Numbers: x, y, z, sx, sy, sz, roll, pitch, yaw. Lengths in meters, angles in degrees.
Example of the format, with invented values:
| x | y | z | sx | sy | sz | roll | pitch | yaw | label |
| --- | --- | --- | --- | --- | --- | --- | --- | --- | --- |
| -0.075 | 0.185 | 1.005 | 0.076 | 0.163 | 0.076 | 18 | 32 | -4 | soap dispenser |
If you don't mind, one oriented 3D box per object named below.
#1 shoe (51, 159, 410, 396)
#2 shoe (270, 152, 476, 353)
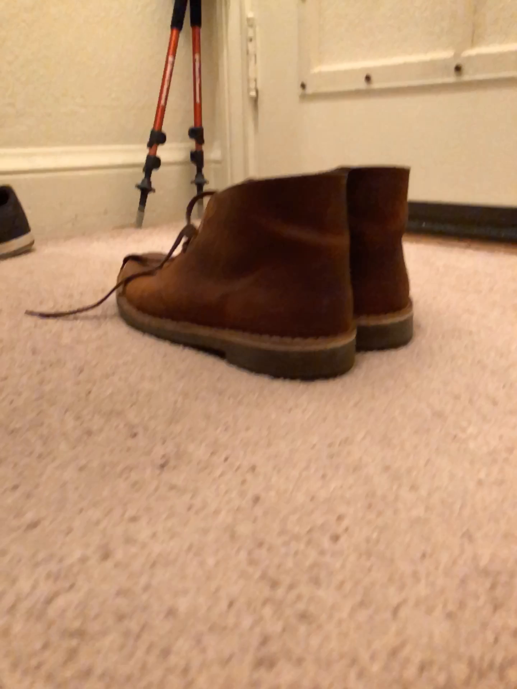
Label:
| x | y | z | sx | sy | sz | roll | pitch | yaw | label |
| --- | --- | --- | --- | --- | --- | --- | --- | --- | --- |
| -0.041 | -0.081 | 0.485 | 0.303 | 0.138 | 0.110 | 17 | 27 | 41 | shoe |
| 0.086 | -0.114 | 0.568 | 0.110 | 0.138 | 0.304 | -3 | 20 | -5 | shoe |
